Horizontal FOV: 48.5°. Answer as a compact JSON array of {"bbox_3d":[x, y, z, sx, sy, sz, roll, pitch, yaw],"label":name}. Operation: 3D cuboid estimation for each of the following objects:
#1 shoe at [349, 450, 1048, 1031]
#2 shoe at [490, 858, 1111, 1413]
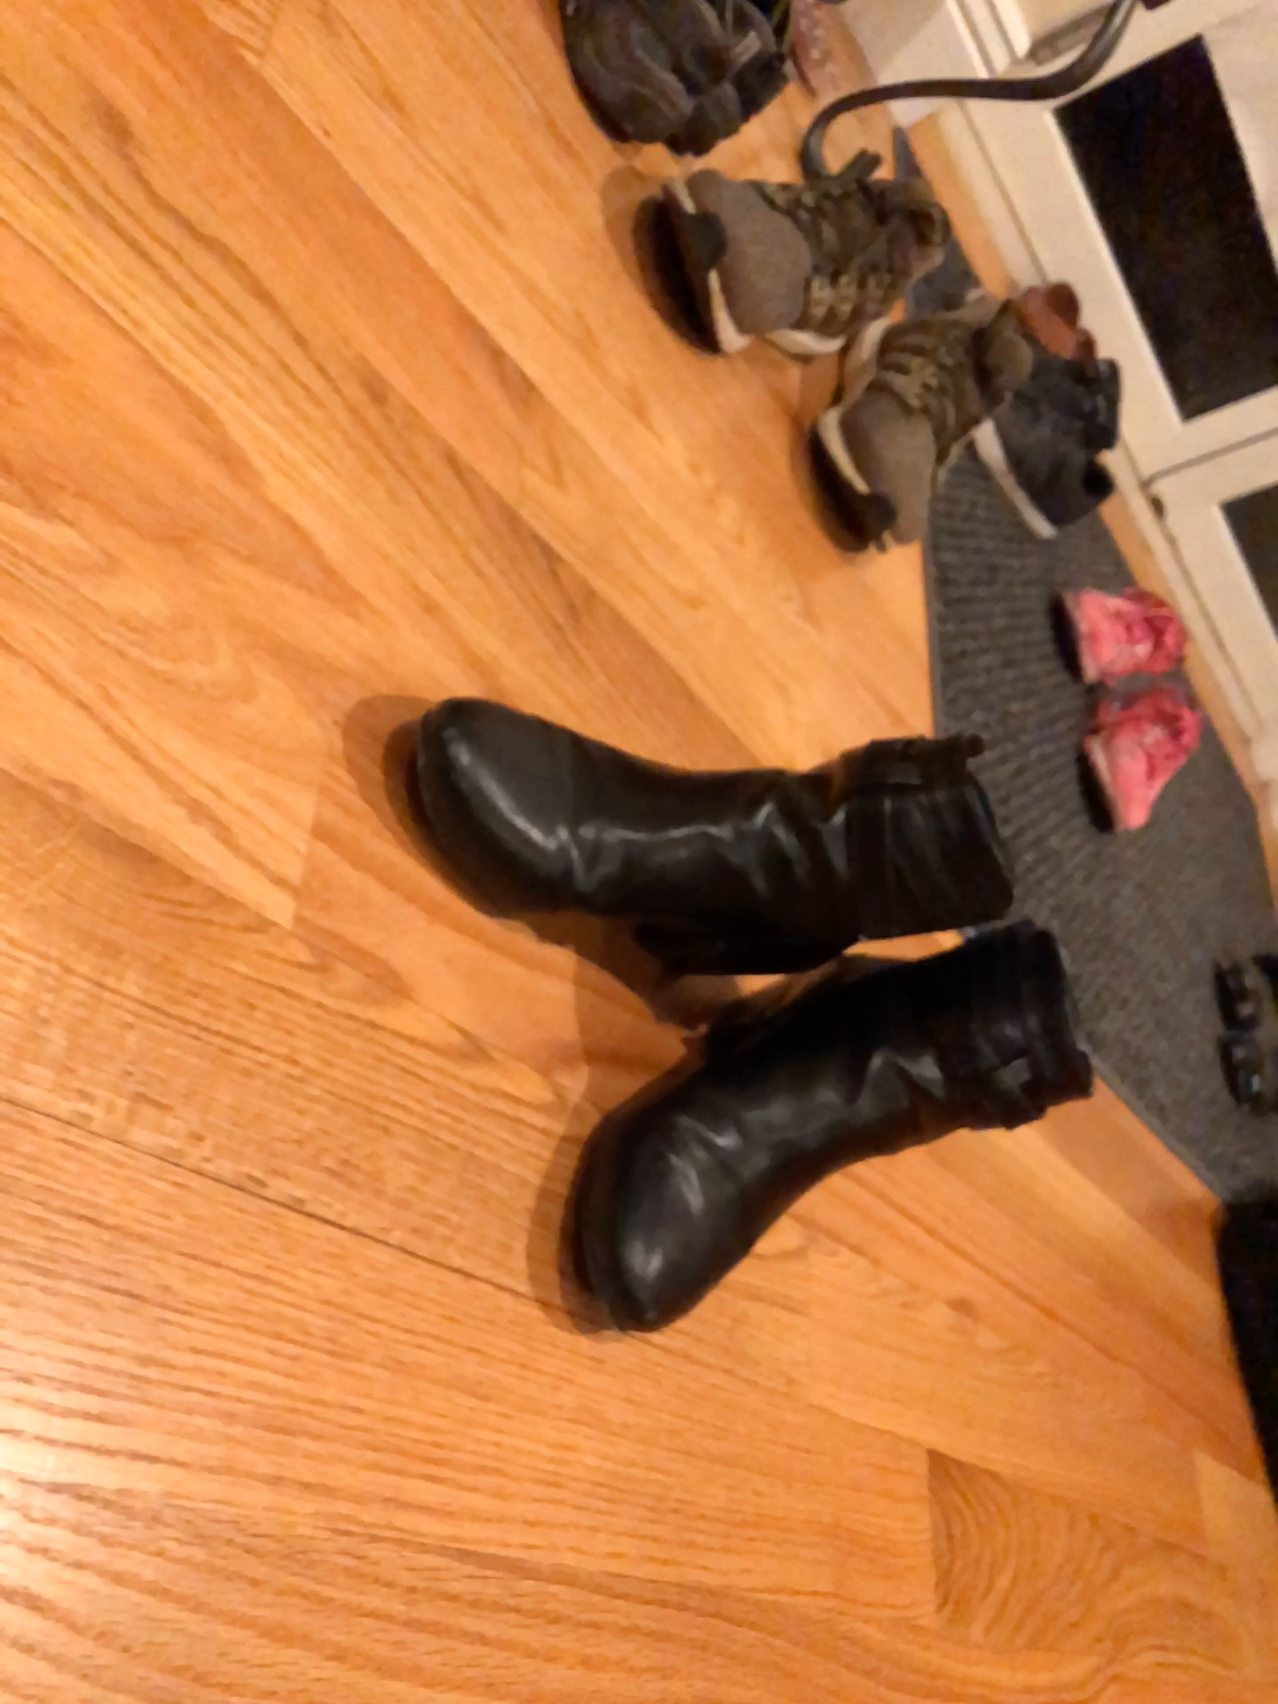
[{"bbox_3d":[0.033,-0.023,0.563,0.227,0.172,0.090,36,46,-46],"label":"shoe"},{"bbox_3d":[0.080,0.108,0.581,0.090,0.172,0.227,66,31,-13],"label":"shoe"}]
